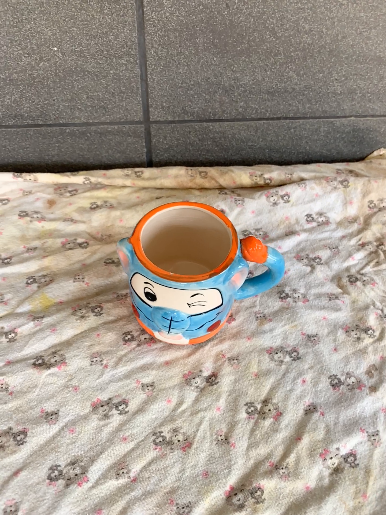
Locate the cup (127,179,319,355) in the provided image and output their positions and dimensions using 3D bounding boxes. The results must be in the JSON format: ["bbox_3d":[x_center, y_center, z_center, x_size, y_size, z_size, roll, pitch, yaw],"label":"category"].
[{"bbox_3d":[0.016,0.008,0.292,0.110,0.090,0.090,1,50,-1],"label":"cup"}]
